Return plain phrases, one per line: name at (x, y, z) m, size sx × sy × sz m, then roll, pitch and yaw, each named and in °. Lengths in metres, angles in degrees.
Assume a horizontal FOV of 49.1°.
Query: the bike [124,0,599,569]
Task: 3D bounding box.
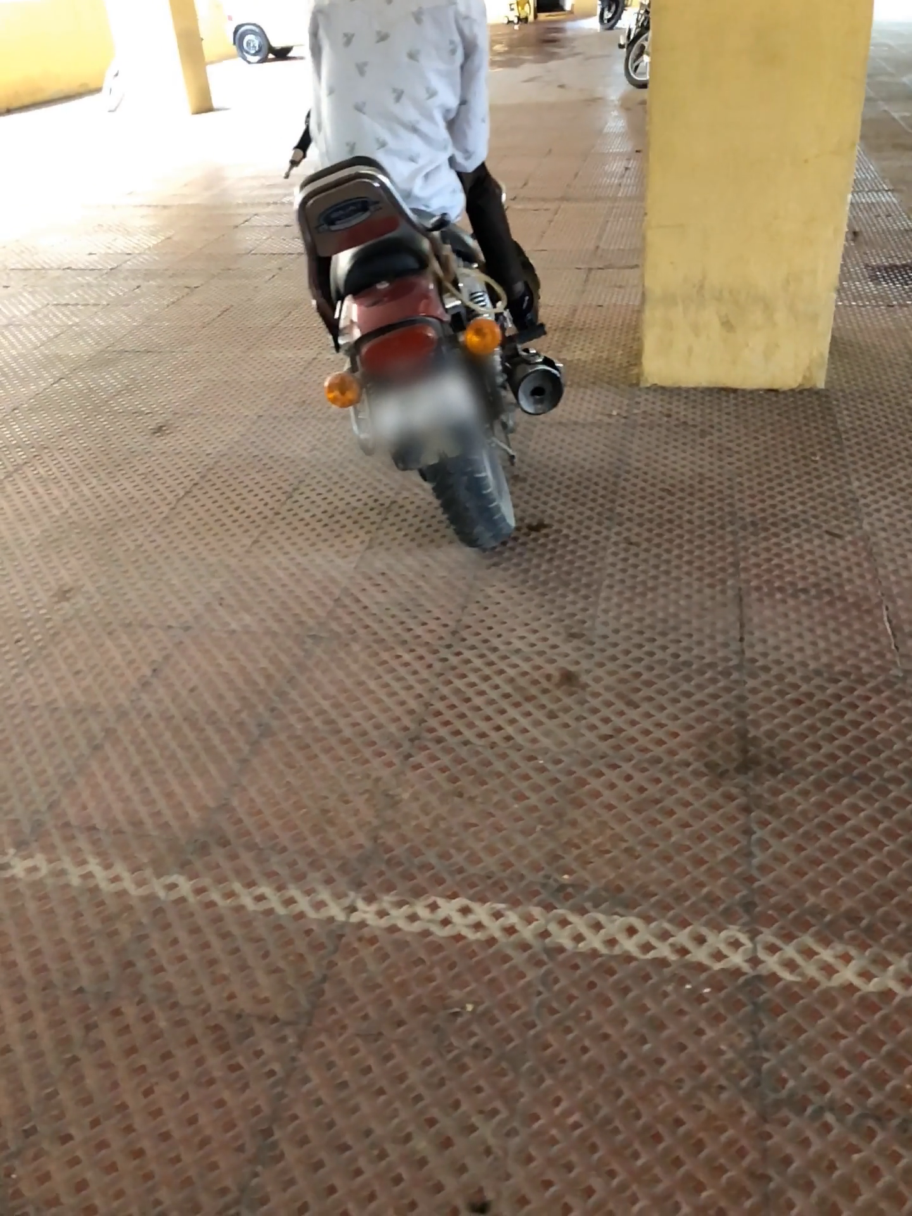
bike at (-0.309, -1.093, 2.491) m, size 0.756 × 1.048 × 1.656 m, roll -9°, pitch 39°, yaw -8°
